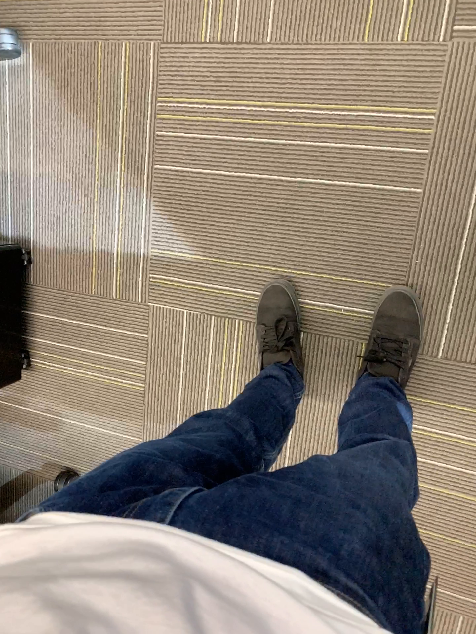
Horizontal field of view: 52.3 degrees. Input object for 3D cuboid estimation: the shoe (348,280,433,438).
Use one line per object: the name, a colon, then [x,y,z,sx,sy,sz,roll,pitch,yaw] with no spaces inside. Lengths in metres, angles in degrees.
shoe: [0.314,0.082,1.006,0.109,0.113,0.291,11,105,18]

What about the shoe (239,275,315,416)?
shoe: [0.093,0.062,1.085,0.109,0.113,0.291,-4,100,21]
